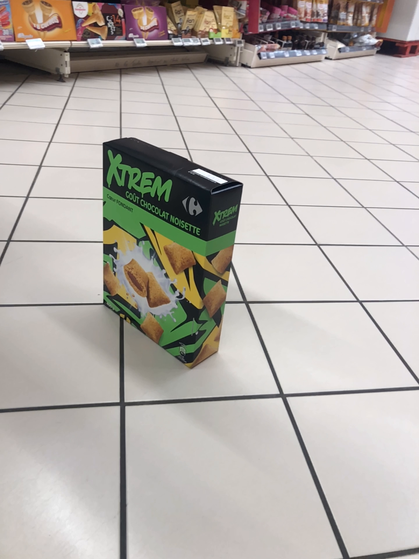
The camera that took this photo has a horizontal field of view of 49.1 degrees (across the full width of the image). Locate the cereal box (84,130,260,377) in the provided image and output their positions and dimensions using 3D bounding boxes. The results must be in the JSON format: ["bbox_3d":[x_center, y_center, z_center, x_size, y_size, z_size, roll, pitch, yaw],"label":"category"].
[{"bbox_3d":[-0.060,-0.040,0.586,0.200,0.238,0.091,31,39,34],"label":"cereal box"}]
